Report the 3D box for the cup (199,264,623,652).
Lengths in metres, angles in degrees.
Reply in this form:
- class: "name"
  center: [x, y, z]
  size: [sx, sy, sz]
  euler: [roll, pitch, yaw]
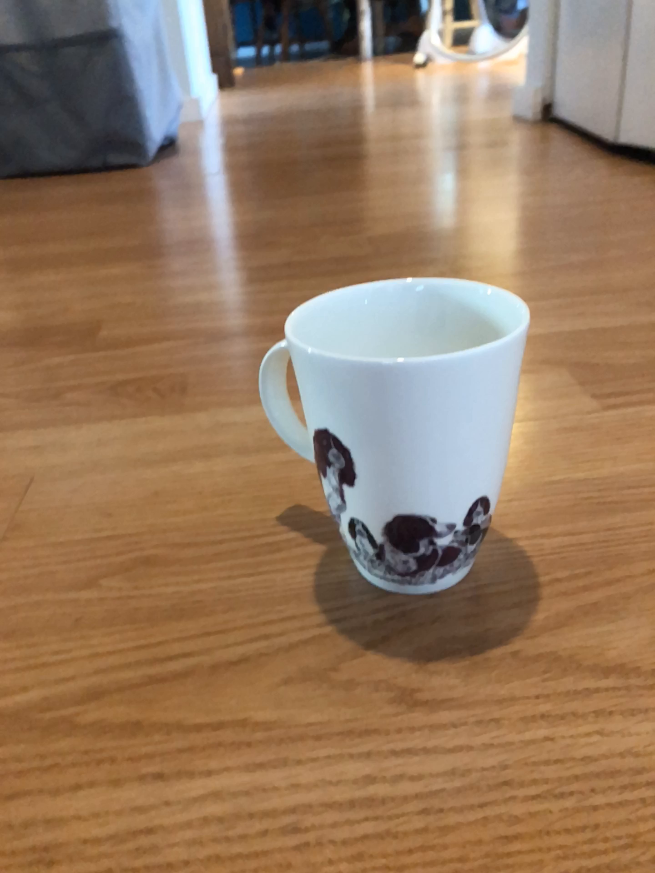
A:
- class: "cup"
  center: [0.031, -0.003, 0.281]
  size: [0.120, 0.090, 0.090]
  euler: [18, 36, 36]
